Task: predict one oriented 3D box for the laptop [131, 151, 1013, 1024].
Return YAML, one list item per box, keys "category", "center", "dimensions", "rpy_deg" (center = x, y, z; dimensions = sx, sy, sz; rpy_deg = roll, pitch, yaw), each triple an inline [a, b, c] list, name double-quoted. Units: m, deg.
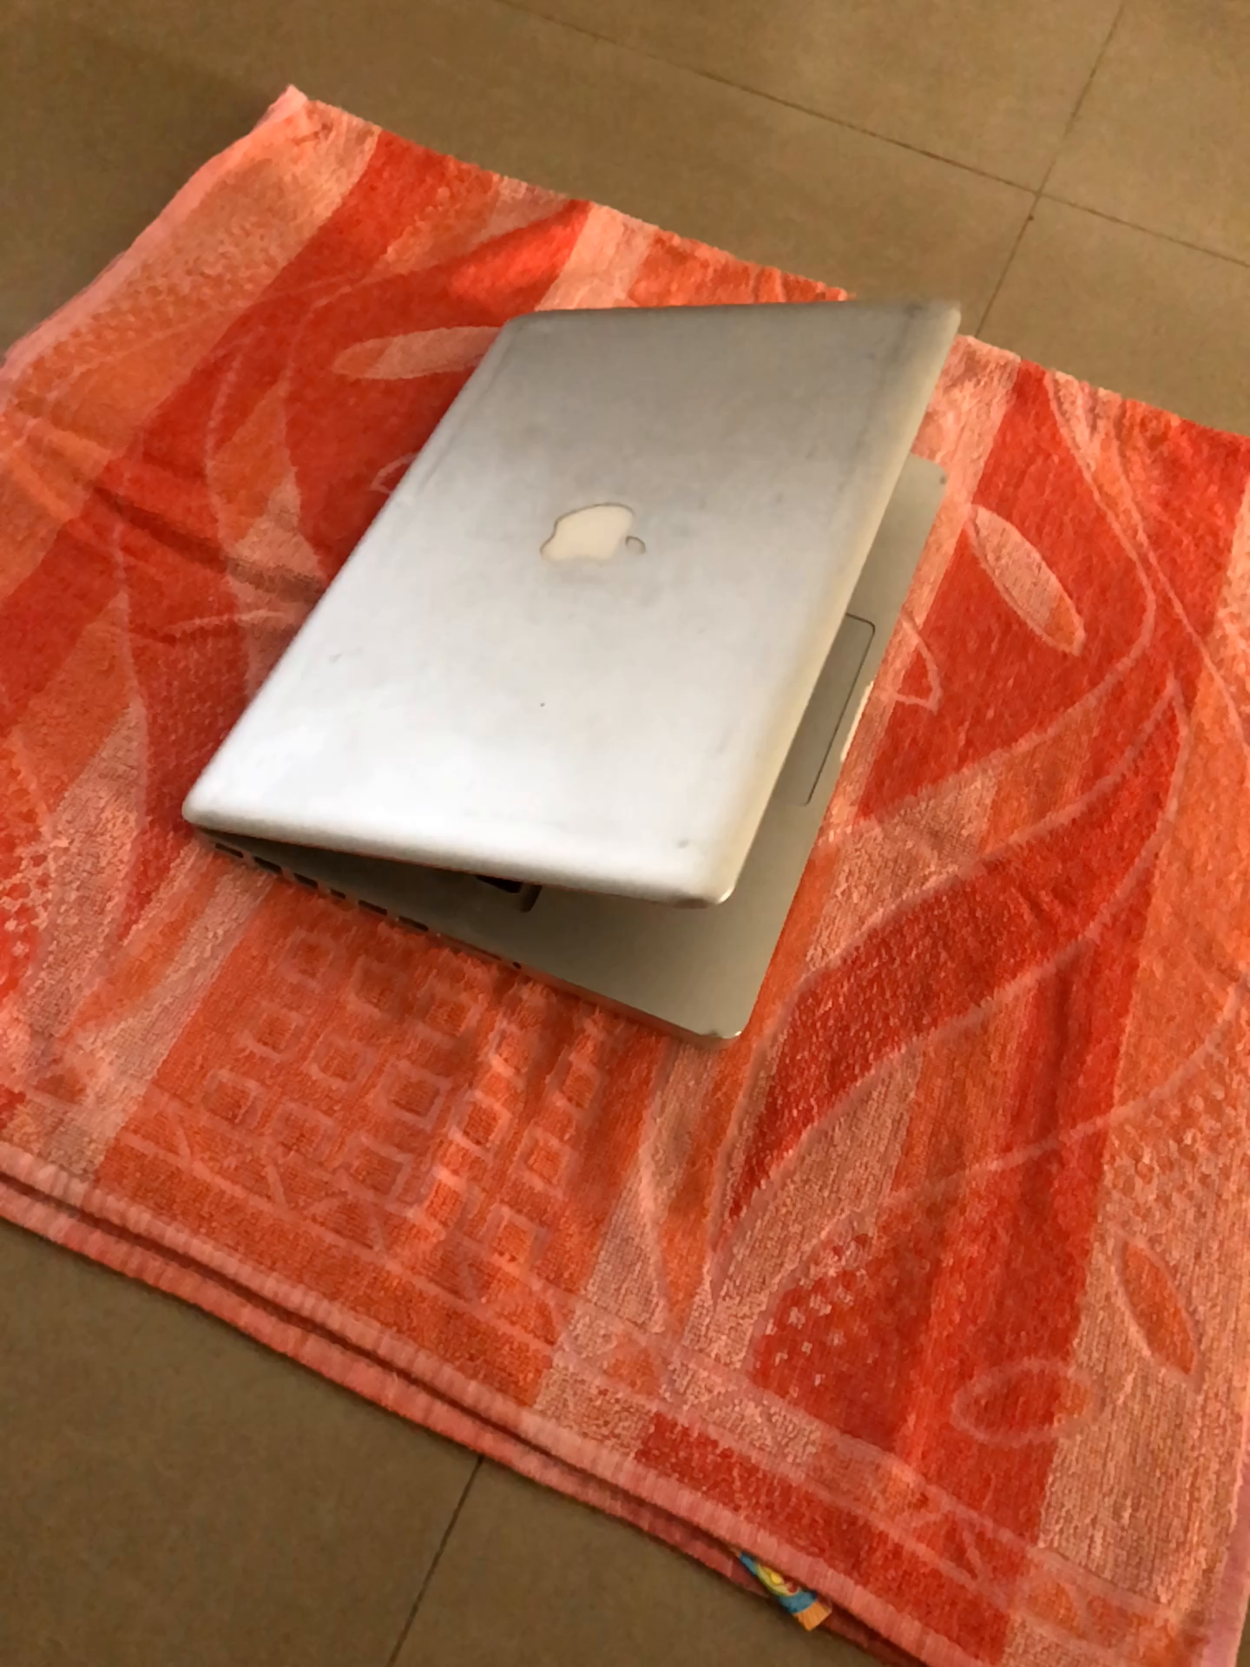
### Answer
- category: "laptop"
  center: [-0.002, -0.115, 0.542]
  dimensions: [0.222, 0.086, 0.311]
  rpy_deg: [21, 58, 7]
